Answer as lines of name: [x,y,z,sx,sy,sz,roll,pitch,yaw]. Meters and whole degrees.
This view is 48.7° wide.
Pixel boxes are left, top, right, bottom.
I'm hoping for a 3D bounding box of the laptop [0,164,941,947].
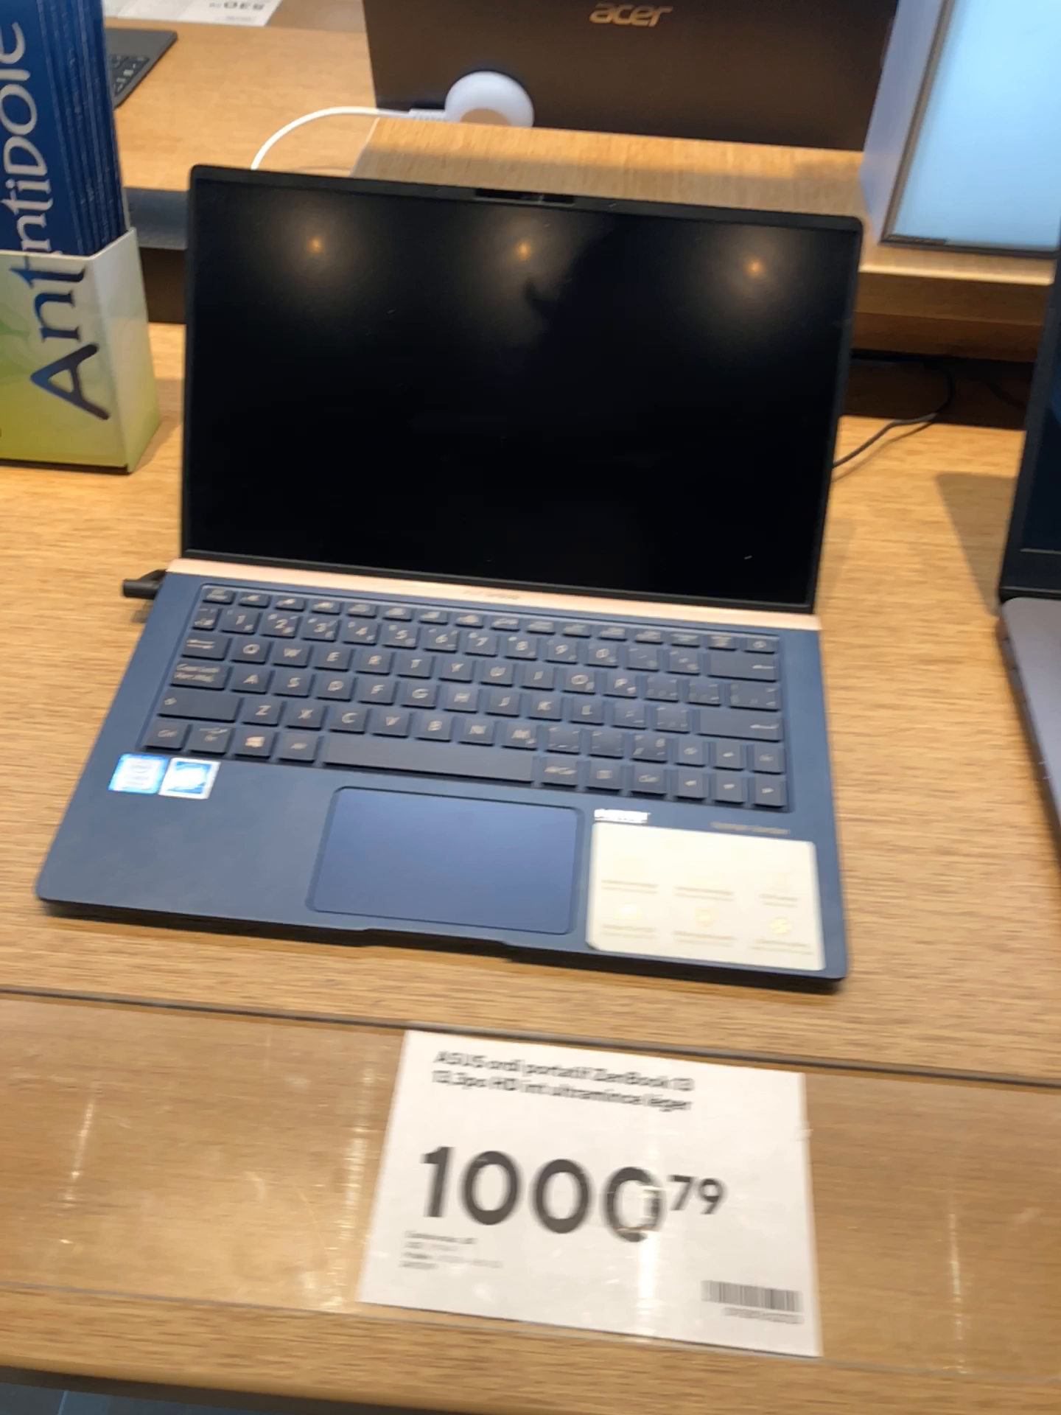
laptop: [-0.009,-0.075,0.462,0.276,0.130,0.277,5,50,4]
